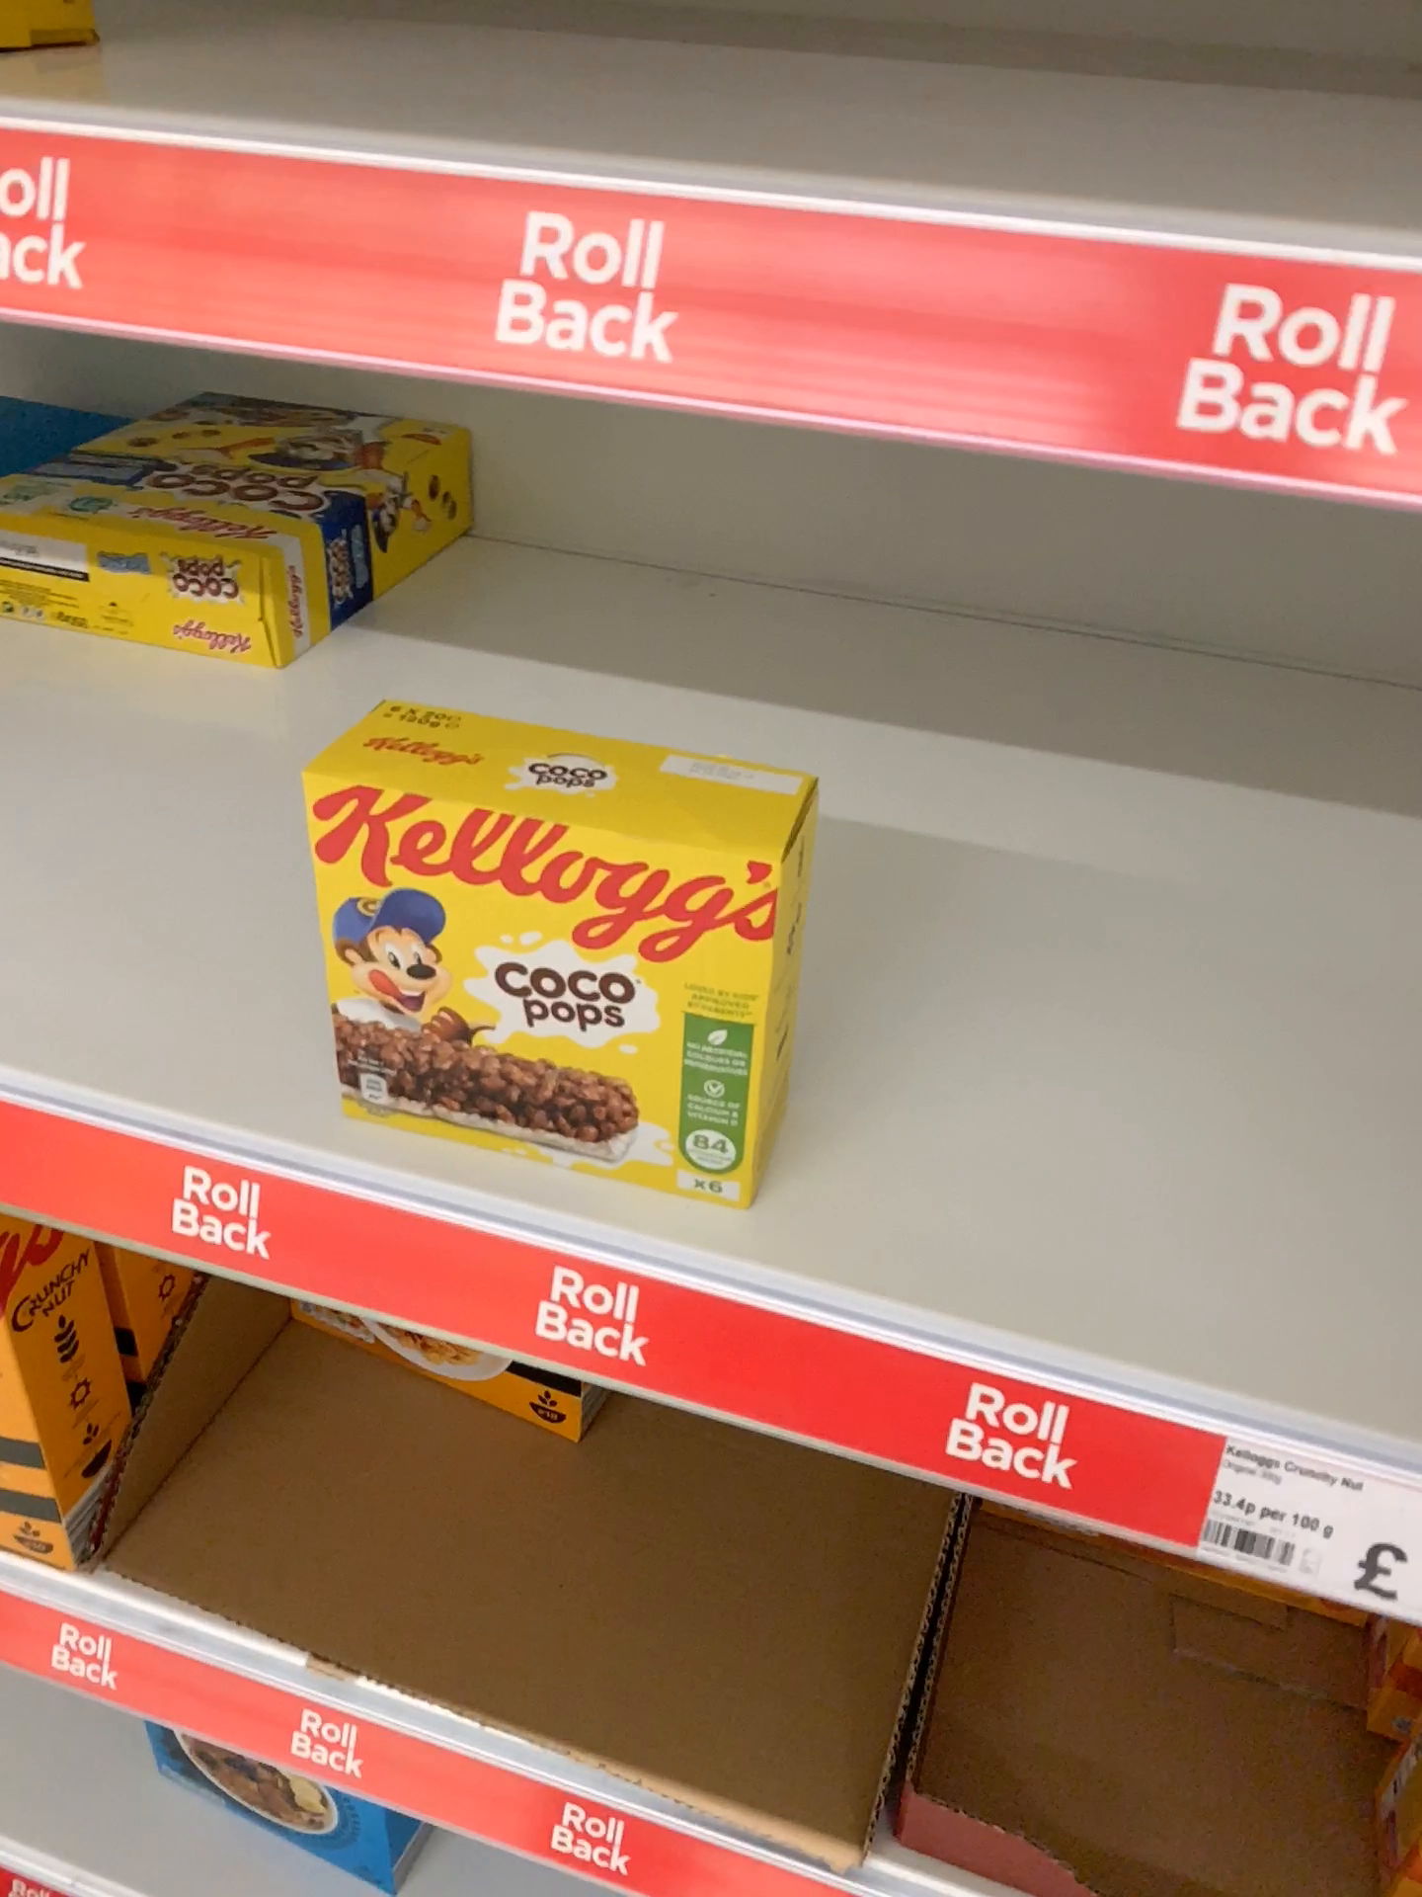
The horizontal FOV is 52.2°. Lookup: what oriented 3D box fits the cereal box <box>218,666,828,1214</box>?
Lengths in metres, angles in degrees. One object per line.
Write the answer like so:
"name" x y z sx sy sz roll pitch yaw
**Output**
"cereal box" -0.051 -0.003 0.422 0.150 0.119 0.061 11 36 11
